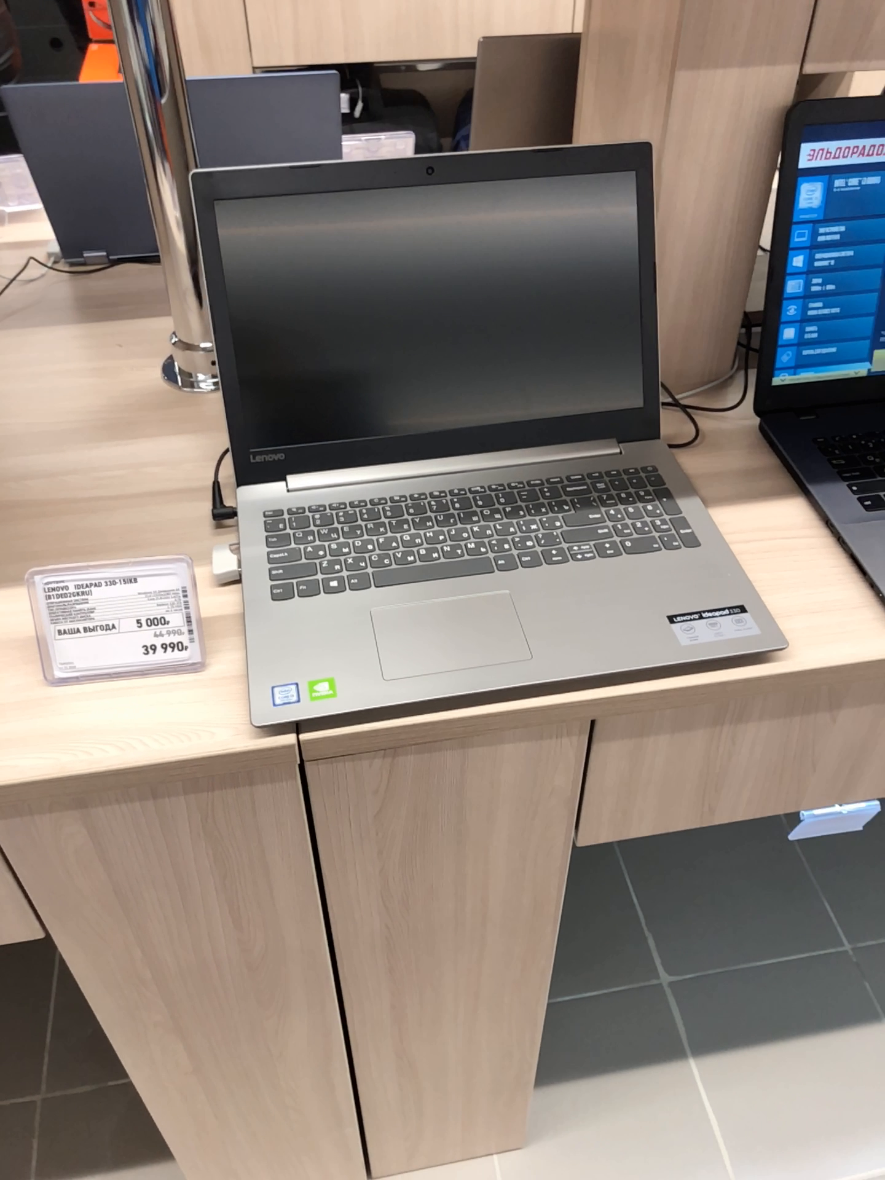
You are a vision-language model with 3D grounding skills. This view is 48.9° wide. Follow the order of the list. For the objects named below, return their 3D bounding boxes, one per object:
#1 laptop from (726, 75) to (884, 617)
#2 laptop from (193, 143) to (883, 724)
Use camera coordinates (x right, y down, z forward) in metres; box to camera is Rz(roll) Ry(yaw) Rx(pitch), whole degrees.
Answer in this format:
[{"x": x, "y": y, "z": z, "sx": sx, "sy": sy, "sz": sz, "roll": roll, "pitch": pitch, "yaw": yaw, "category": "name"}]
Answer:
[{"x": 0.506, "y": -0.206, "z": 0.758, "sx": 0.403, "sy": 0.246, "sz": 0.335, "roll": -7, "pitch": 44, "yaw": -7, "category": "laptop"}, {"x": 0.026, "y": -0.139, "z": 0.707, "sx": 0.370, "sy": 0.208, "sz": 0.367, "roll": -8, "pitch": 44, "yaw": -7, "category": "laptop"}]
